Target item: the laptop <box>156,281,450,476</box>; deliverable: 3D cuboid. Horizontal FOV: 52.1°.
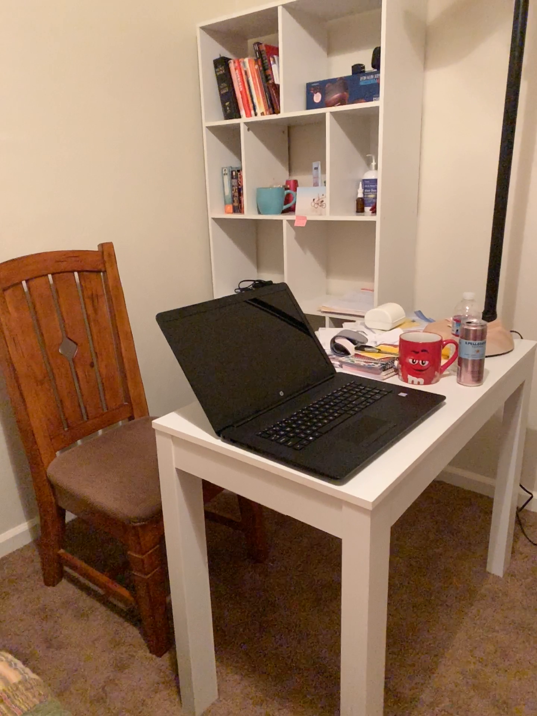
[{"bbox_3d":[0.075,-0.002,1.097,0.416,0.197,0.401,13,23,38],"label":"laptop"}]
